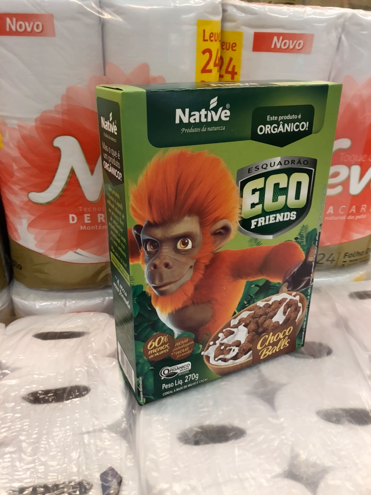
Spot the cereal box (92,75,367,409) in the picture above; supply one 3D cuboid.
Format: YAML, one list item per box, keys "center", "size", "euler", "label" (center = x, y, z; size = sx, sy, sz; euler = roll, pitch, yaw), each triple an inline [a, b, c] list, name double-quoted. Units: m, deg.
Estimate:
- center: [0.033, -0.010, 0.323]
  size: [0.180, 0.228, 0.060]
  euler: [-11, 26, -23]
  label: "cereal box"
